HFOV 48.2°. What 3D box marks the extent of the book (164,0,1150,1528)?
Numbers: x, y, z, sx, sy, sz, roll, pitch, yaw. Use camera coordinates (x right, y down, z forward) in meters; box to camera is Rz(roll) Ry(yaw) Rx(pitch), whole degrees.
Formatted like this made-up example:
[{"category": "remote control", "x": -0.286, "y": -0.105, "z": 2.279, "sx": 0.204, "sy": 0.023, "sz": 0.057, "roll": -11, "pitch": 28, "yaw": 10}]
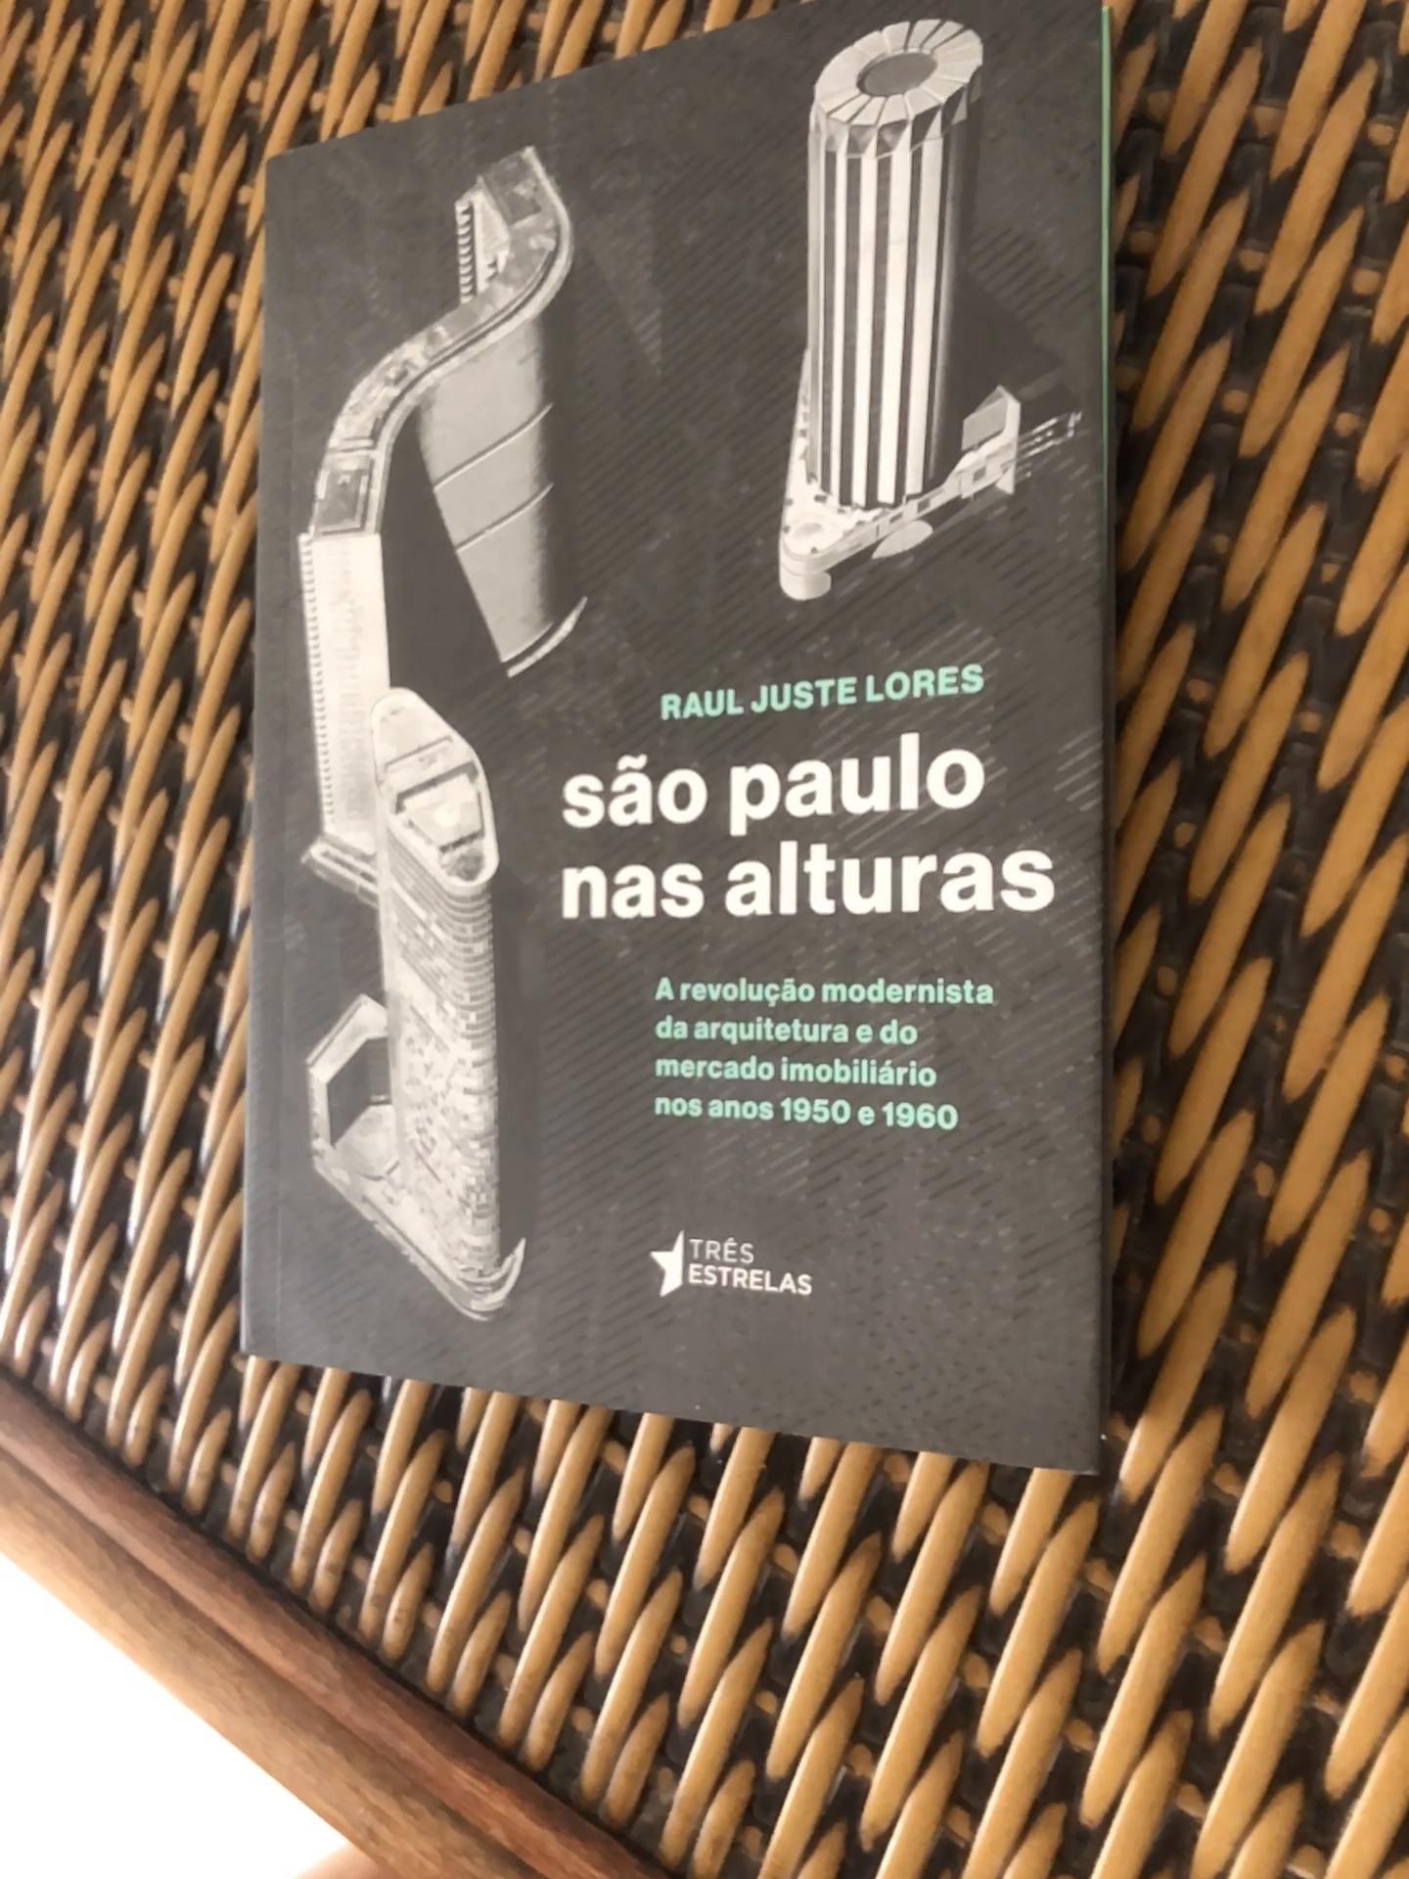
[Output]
[{"category": "book", "x": -0.015, "y": -0.034, "z": 0.254, "sx": 0.160, "sy": 0.030, "sz": 0.221, "roll": 1, "pitch": 91, "yaw": 25}]
